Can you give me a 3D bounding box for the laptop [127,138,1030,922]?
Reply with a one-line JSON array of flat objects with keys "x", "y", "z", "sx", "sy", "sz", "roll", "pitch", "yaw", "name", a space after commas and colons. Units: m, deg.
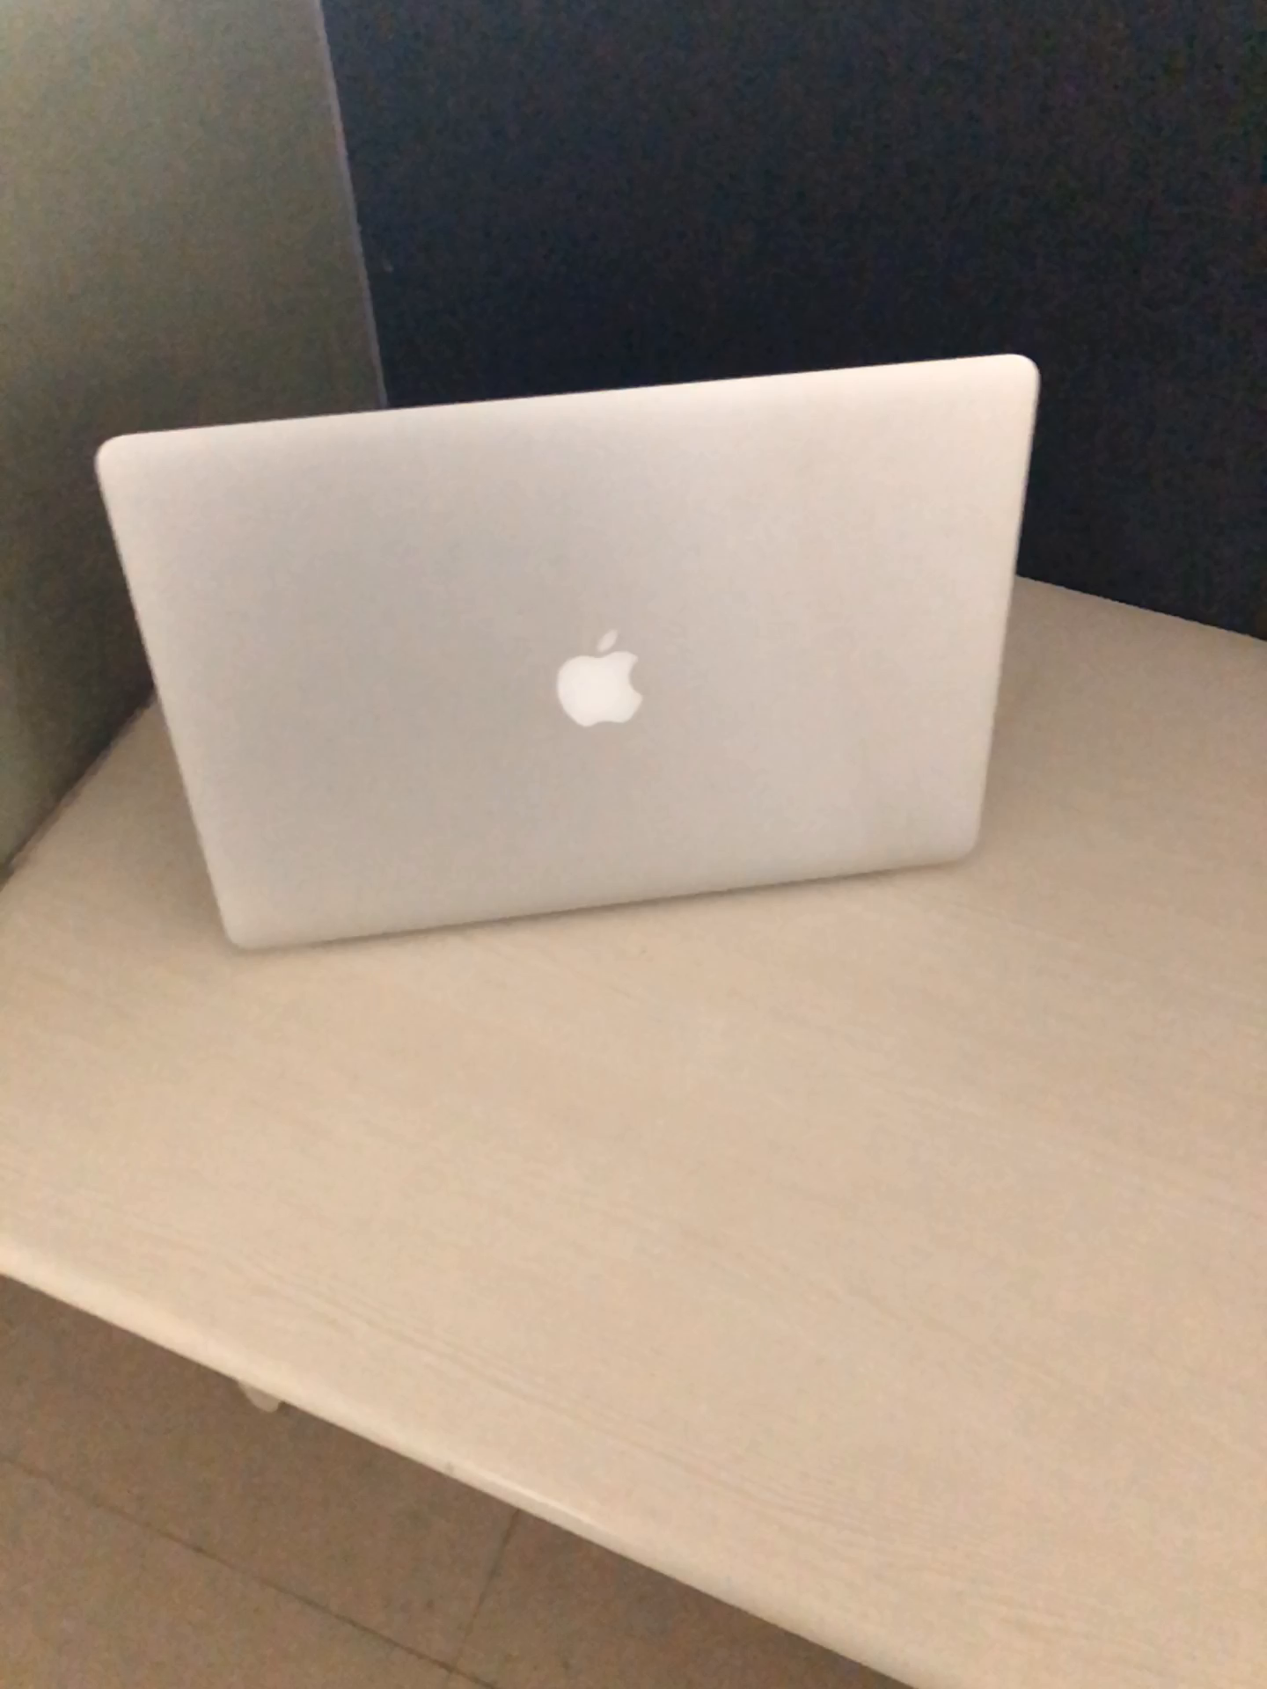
[{"x": -0.032, "y": -0.148, "z": 0.660, "sx": 0.321, "sy": 0.233, "sz": 0.245, "roll": -7, "pitch": 52, "yaw": -5, "name": "laptop"}]
